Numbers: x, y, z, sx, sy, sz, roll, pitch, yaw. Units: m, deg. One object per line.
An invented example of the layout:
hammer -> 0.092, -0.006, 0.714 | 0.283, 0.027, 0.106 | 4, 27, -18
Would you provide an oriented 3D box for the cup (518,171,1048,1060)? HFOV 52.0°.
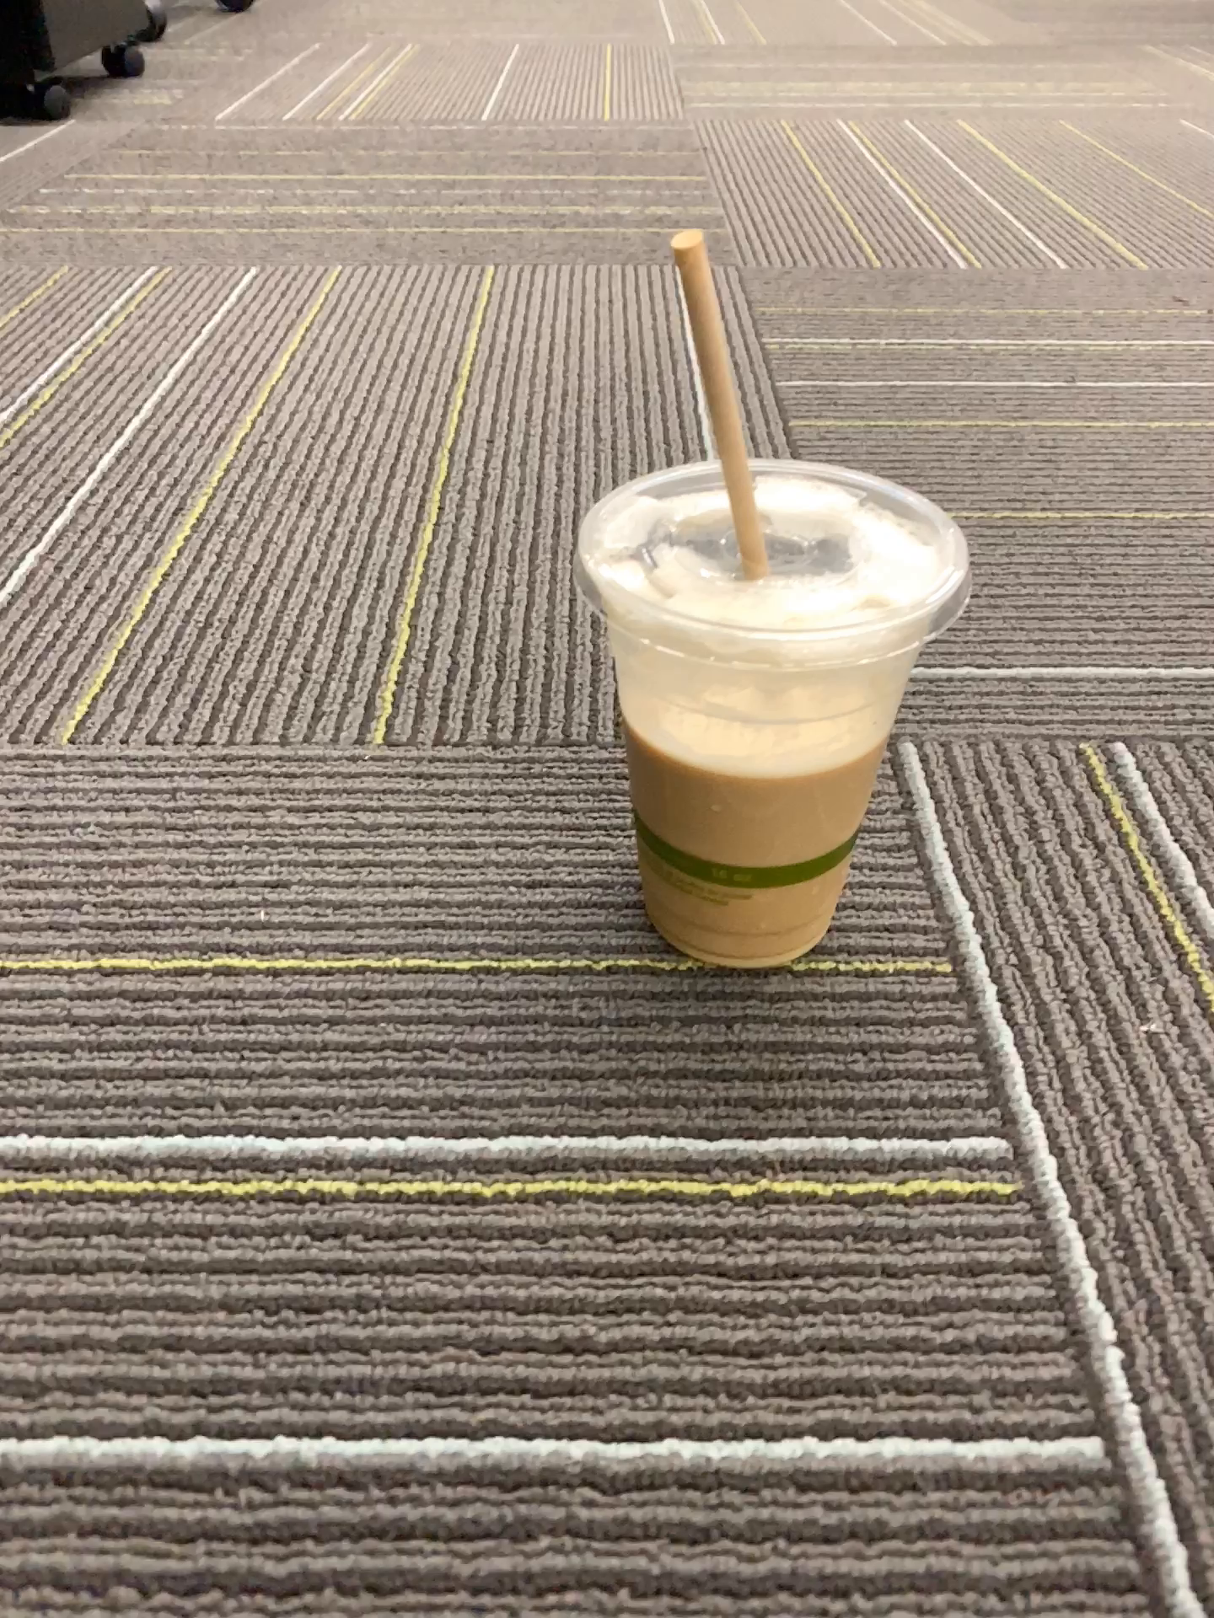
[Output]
cup -> 0.041, -0.044, 0.313 | 0.090, 0.189, 0.090 | 0, 38, 0
